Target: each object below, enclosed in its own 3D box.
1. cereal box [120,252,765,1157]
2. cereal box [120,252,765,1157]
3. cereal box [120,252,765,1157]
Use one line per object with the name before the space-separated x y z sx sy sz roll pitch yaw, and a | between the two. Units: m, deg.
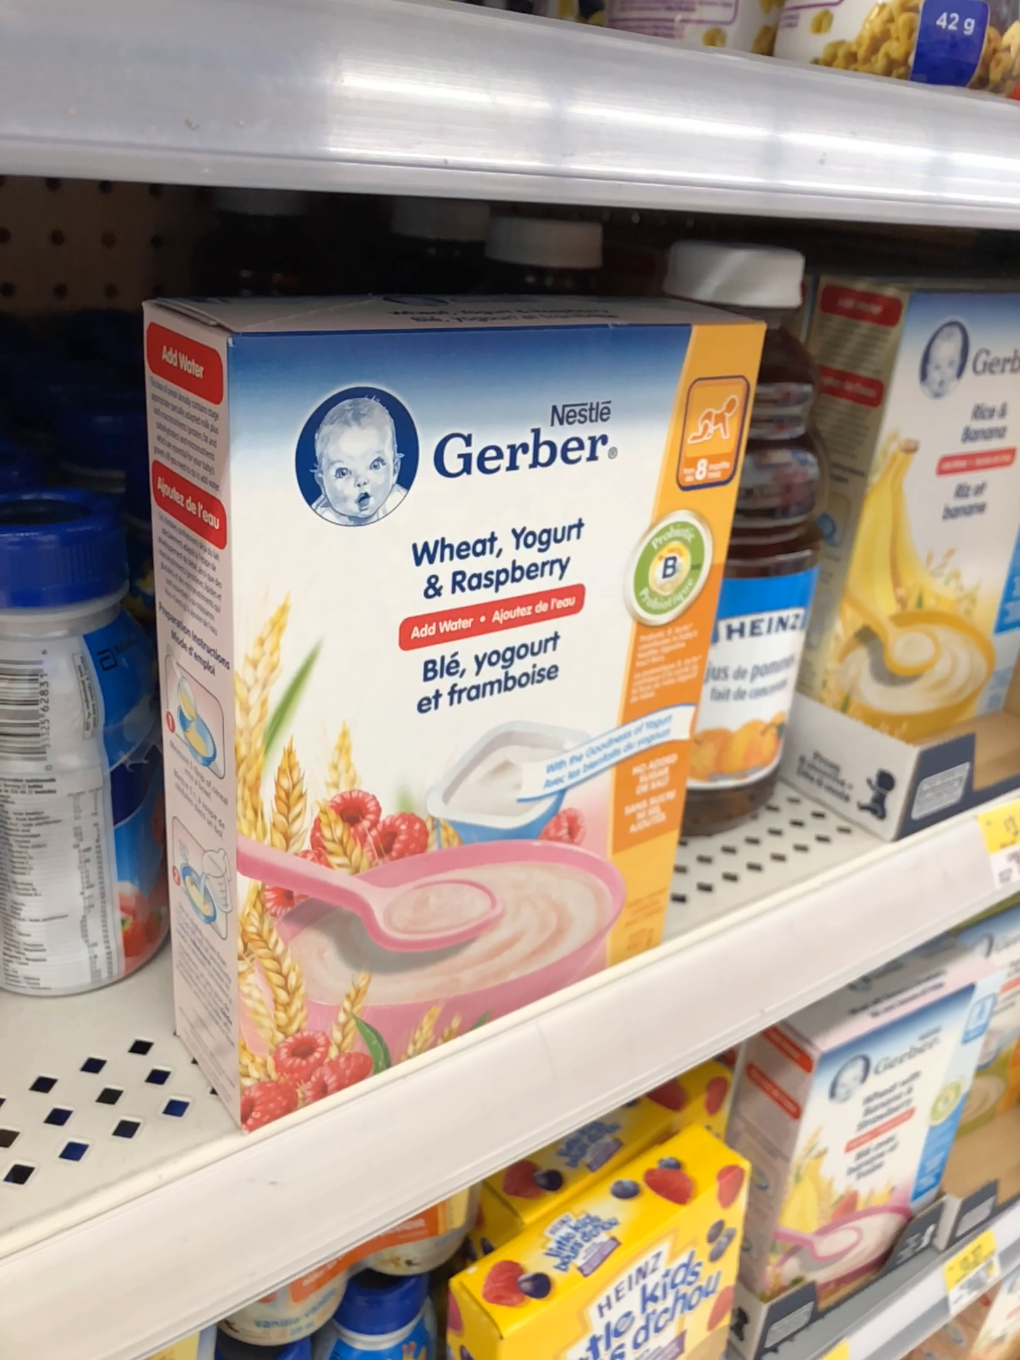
cereal box | -0.017 0.001 0.292 0.140 0.199 0.050 -12 28 -35
cereal box | -0.017 0.001 0.292 0.140 0.199 0.050 -12 28 -35
cereal box | -0.017 0.001 0.292 0.140 0.199 0.050 -12 28 -35
